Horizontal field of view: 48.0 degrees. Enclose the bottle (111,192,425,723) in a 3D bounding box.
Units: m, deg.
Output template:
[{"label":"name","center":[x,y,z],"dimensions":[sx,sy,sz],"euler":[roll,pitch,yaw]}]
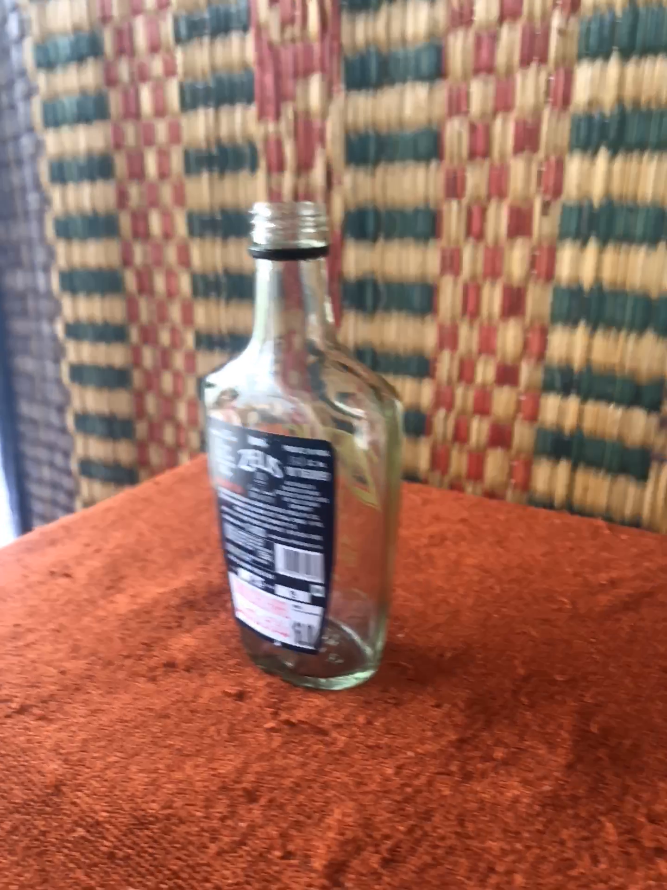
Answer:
[{"label":"bottle","center":[-0.017,0.001,0.238],"dimensions":[0.080,0.149,0.040],"euler":[12,26,36]}]
